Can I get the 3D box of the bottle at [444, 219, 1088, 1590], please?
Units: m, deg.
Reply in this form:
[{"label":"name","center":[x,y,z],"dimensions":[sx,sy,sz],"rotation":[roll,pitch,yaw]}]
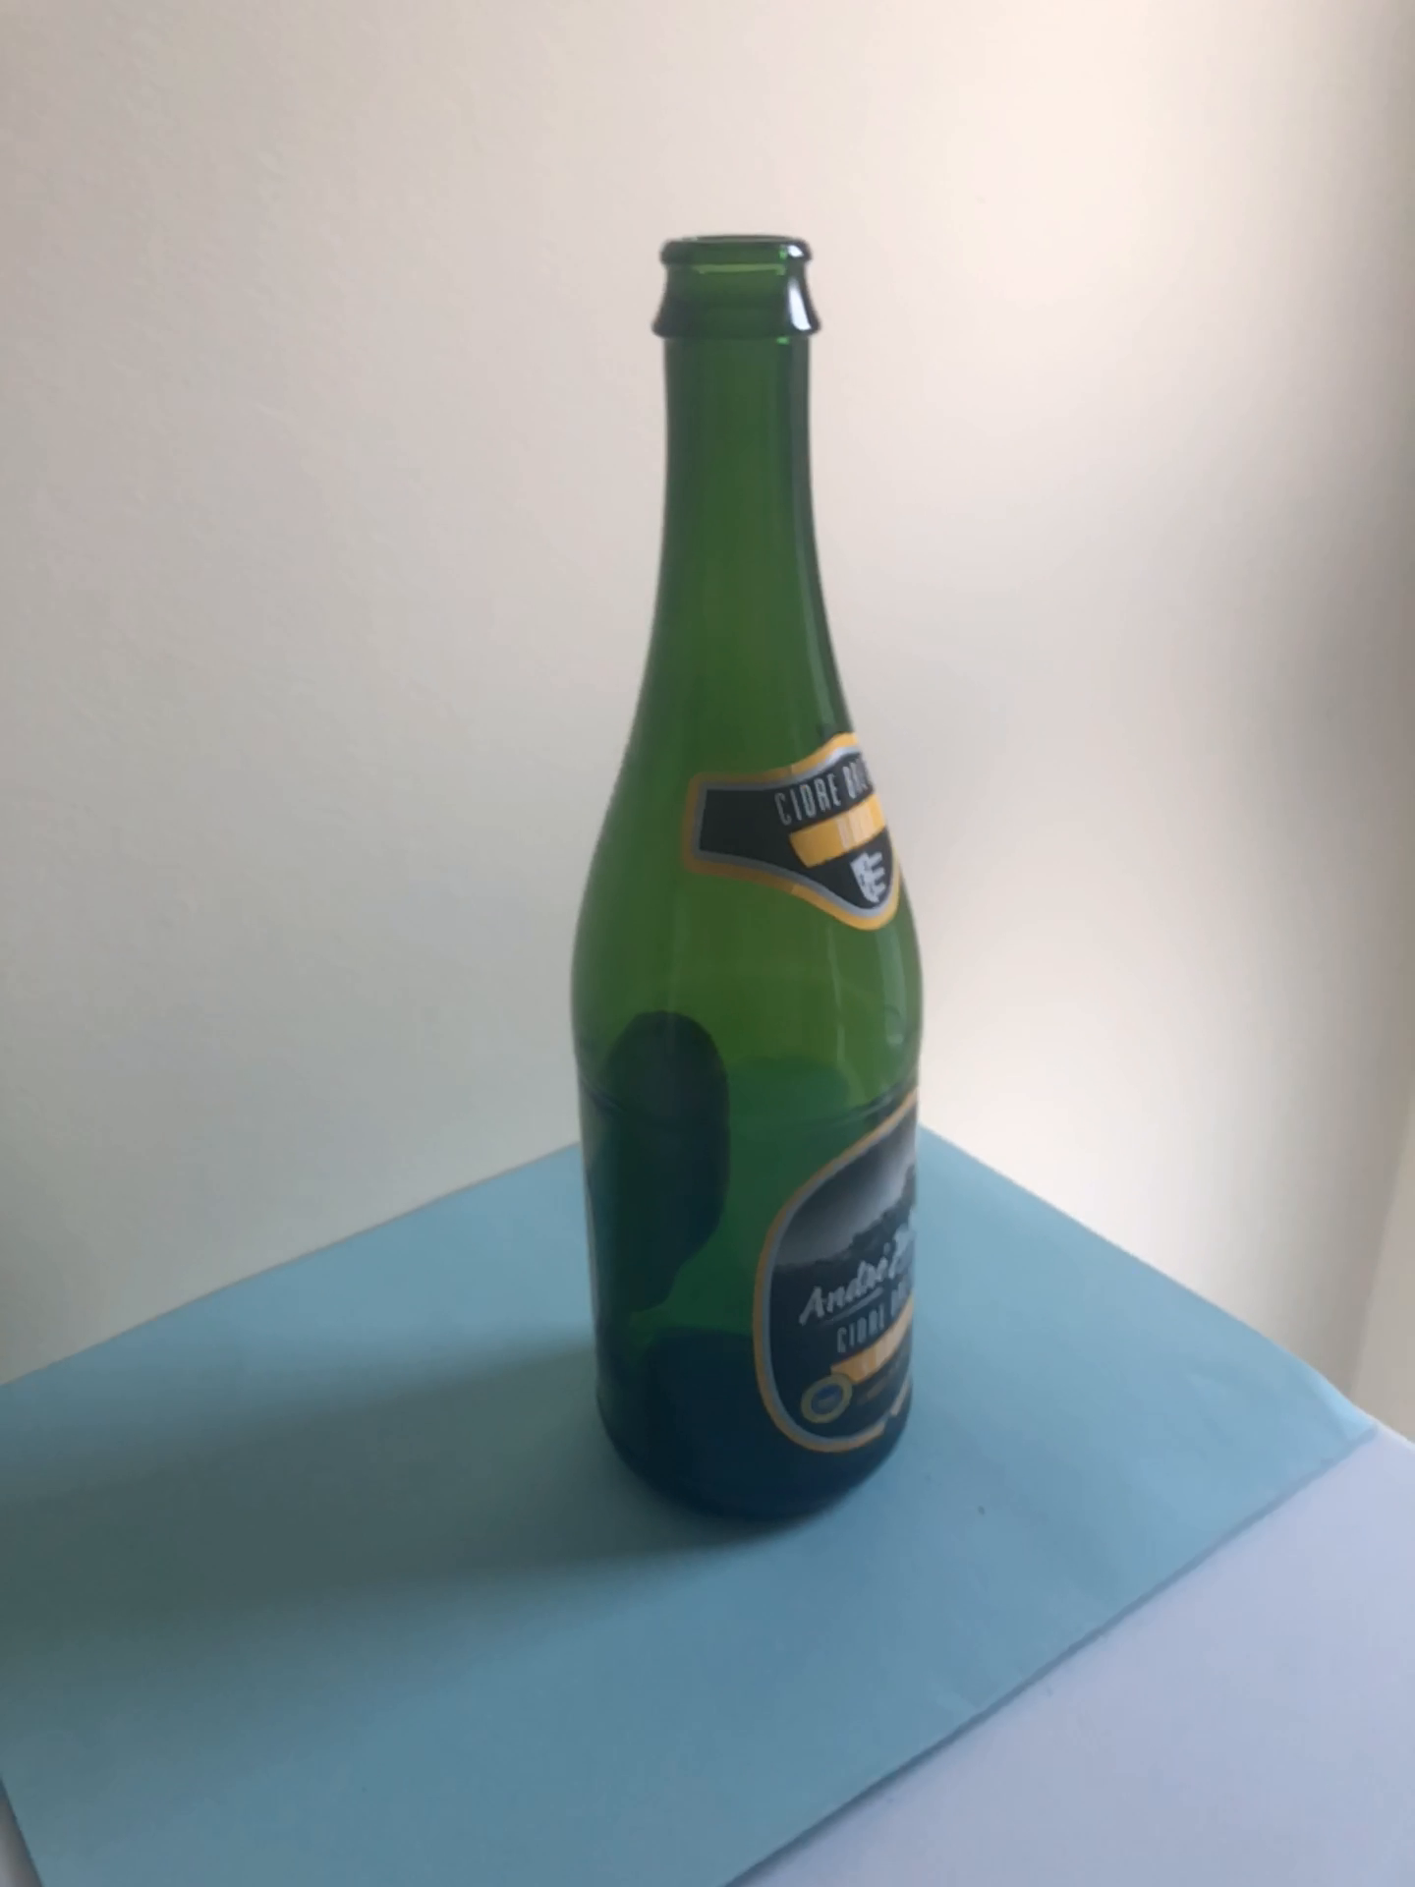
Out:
[{"label":"bottle","center":[0.016,-0.005,0.349],"dimensions":[0.080,0.278,0.091],"rotation":[18,32,33]}]
